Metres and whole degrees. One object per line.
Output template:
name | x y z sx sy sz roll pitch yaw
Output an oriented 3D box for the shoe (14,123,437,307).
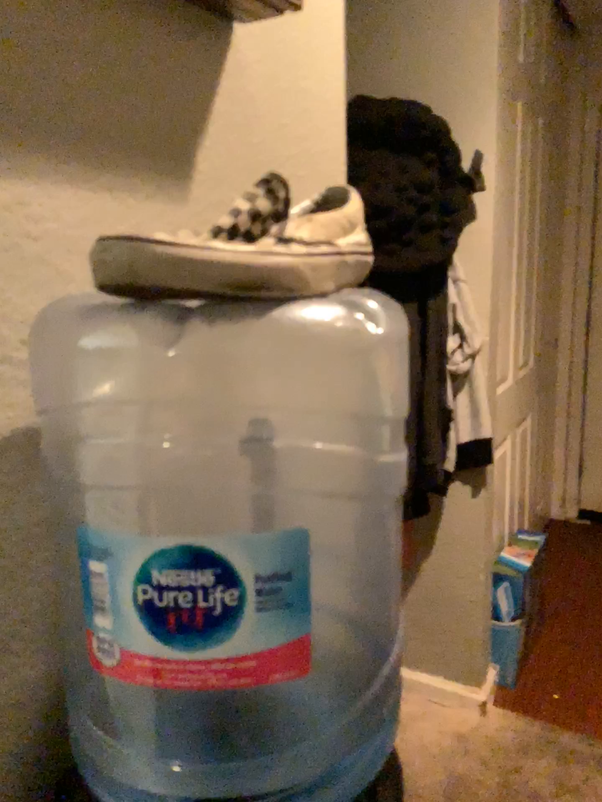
shoe | -0.024 -0.117 0.444 0.130 0.080 0.280 6 15 33
